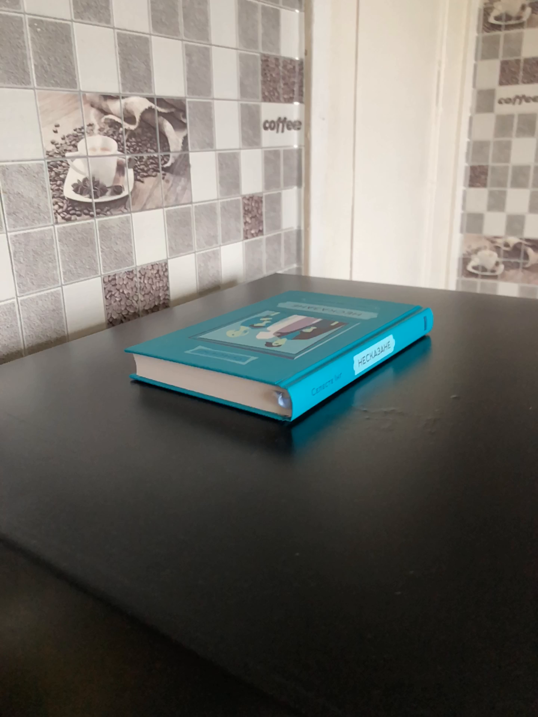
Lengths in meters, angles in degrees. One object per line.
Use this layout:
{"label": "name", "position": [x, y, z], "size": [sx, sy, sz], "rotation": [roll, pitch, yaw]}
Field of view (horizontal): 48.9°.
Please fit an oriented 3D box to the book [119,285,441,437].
{"label": "book", "position": [0.021, -0.014, 0.463], "size": [0.151, 0.030, 0.221], "rotation": [12, 24, 34]}
